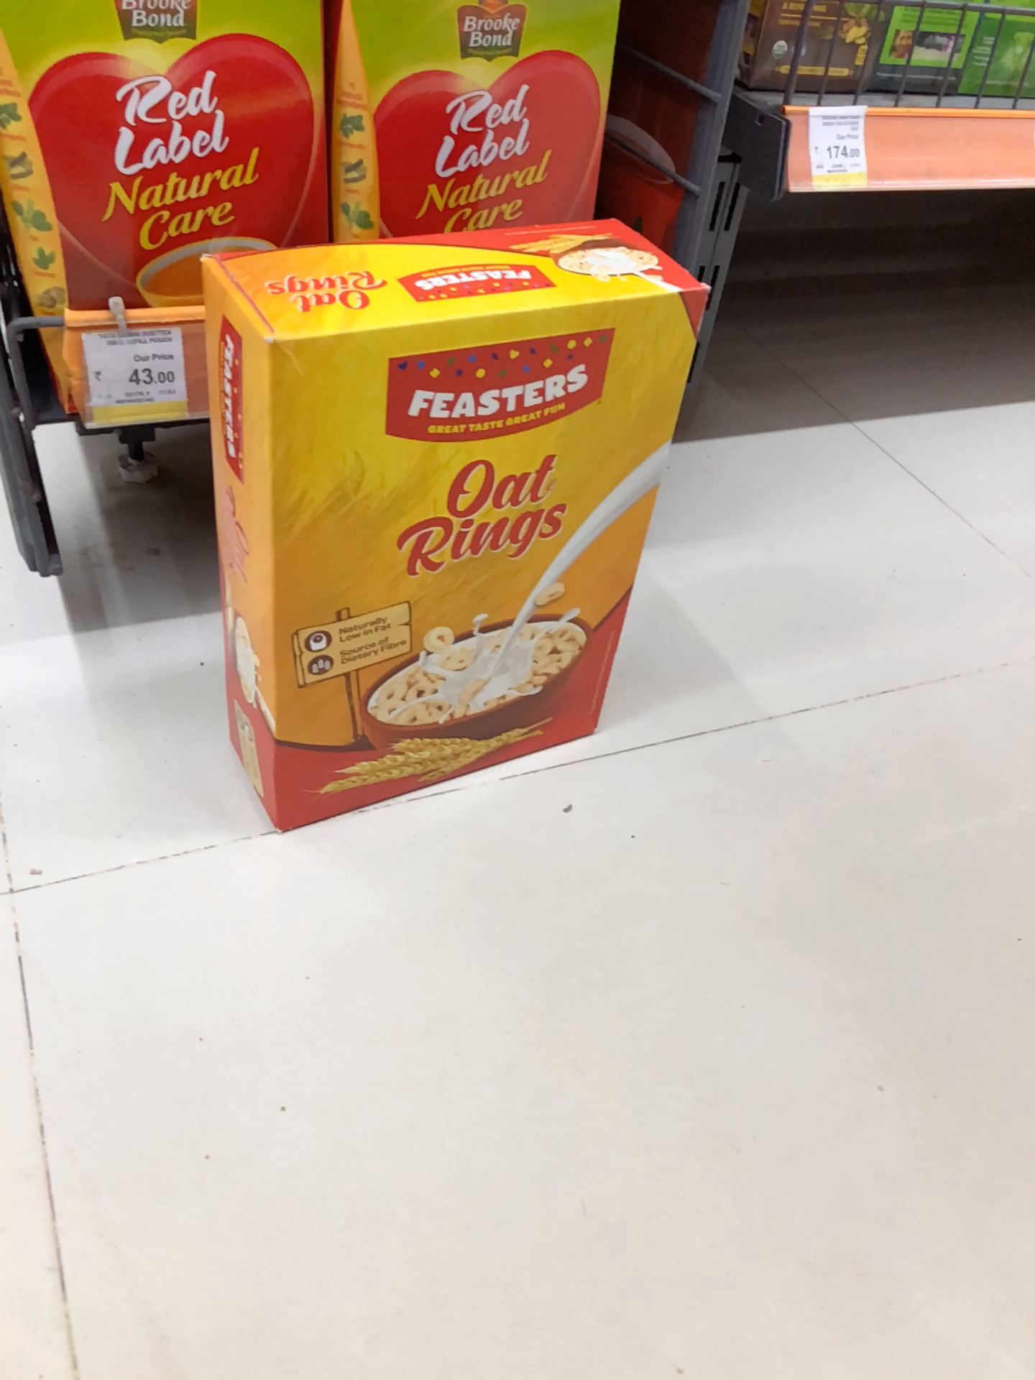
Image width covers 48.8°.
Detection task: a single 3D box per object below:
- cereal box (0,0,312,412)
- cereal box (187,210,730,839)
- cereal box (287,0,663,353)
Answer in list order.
[{"bbox_3d":[-0.153,-0.214,0.458,0.120,0.169,0.080,-13,46,-23],"label":"cereal box"},{"bbox_3d":[-0.029,-0.062,0.456,0.171,0.218,0.070,-16,47,-26],"label":"cereal box"},{"bbox_3d":[-0.025,-0.238,0.483,0.120,0.149,0.080,-16,48,-26],"label":"cereal box"}]
